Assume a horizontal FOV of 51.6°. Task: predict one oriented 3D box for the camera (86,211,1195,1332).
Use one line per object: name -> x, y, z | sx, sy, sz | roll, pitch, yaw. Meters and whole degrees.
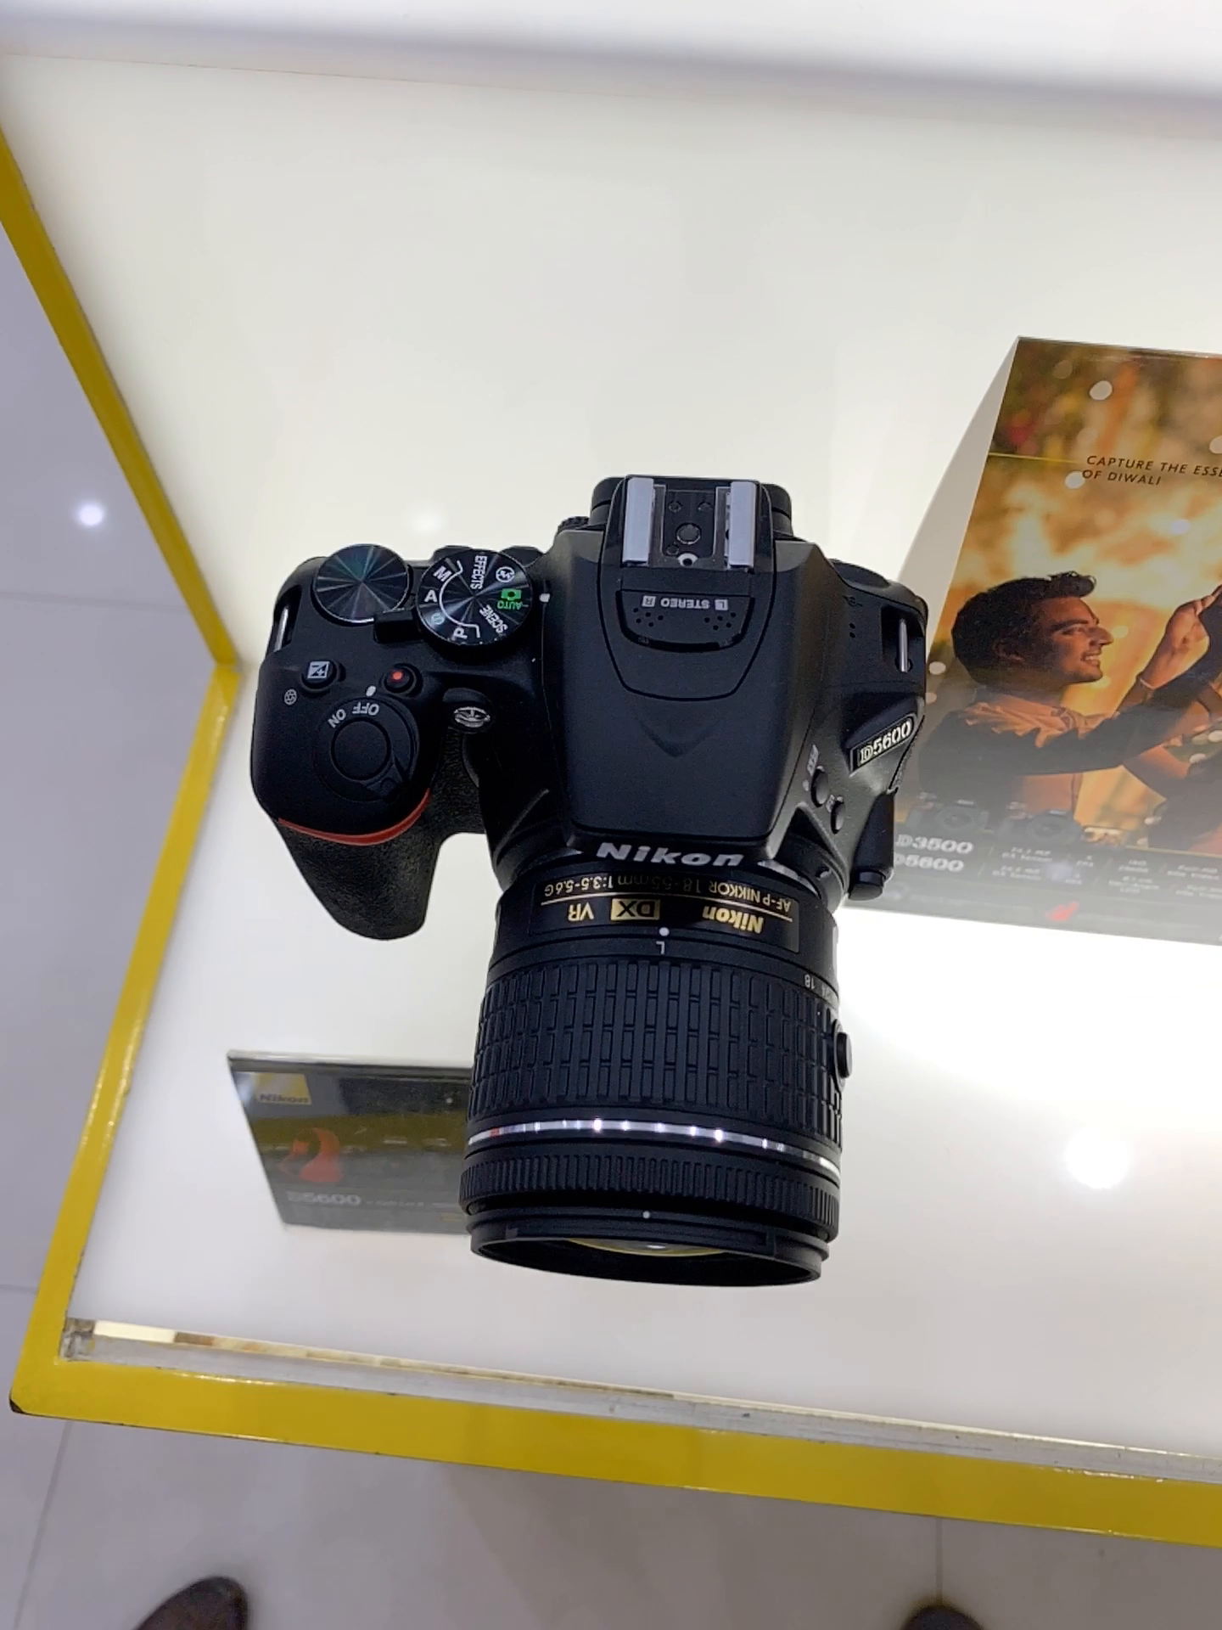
camera -> 0.007, -0.007, 0.213 | 0.120, 0.090, 0.160 | 3, 63, 1
